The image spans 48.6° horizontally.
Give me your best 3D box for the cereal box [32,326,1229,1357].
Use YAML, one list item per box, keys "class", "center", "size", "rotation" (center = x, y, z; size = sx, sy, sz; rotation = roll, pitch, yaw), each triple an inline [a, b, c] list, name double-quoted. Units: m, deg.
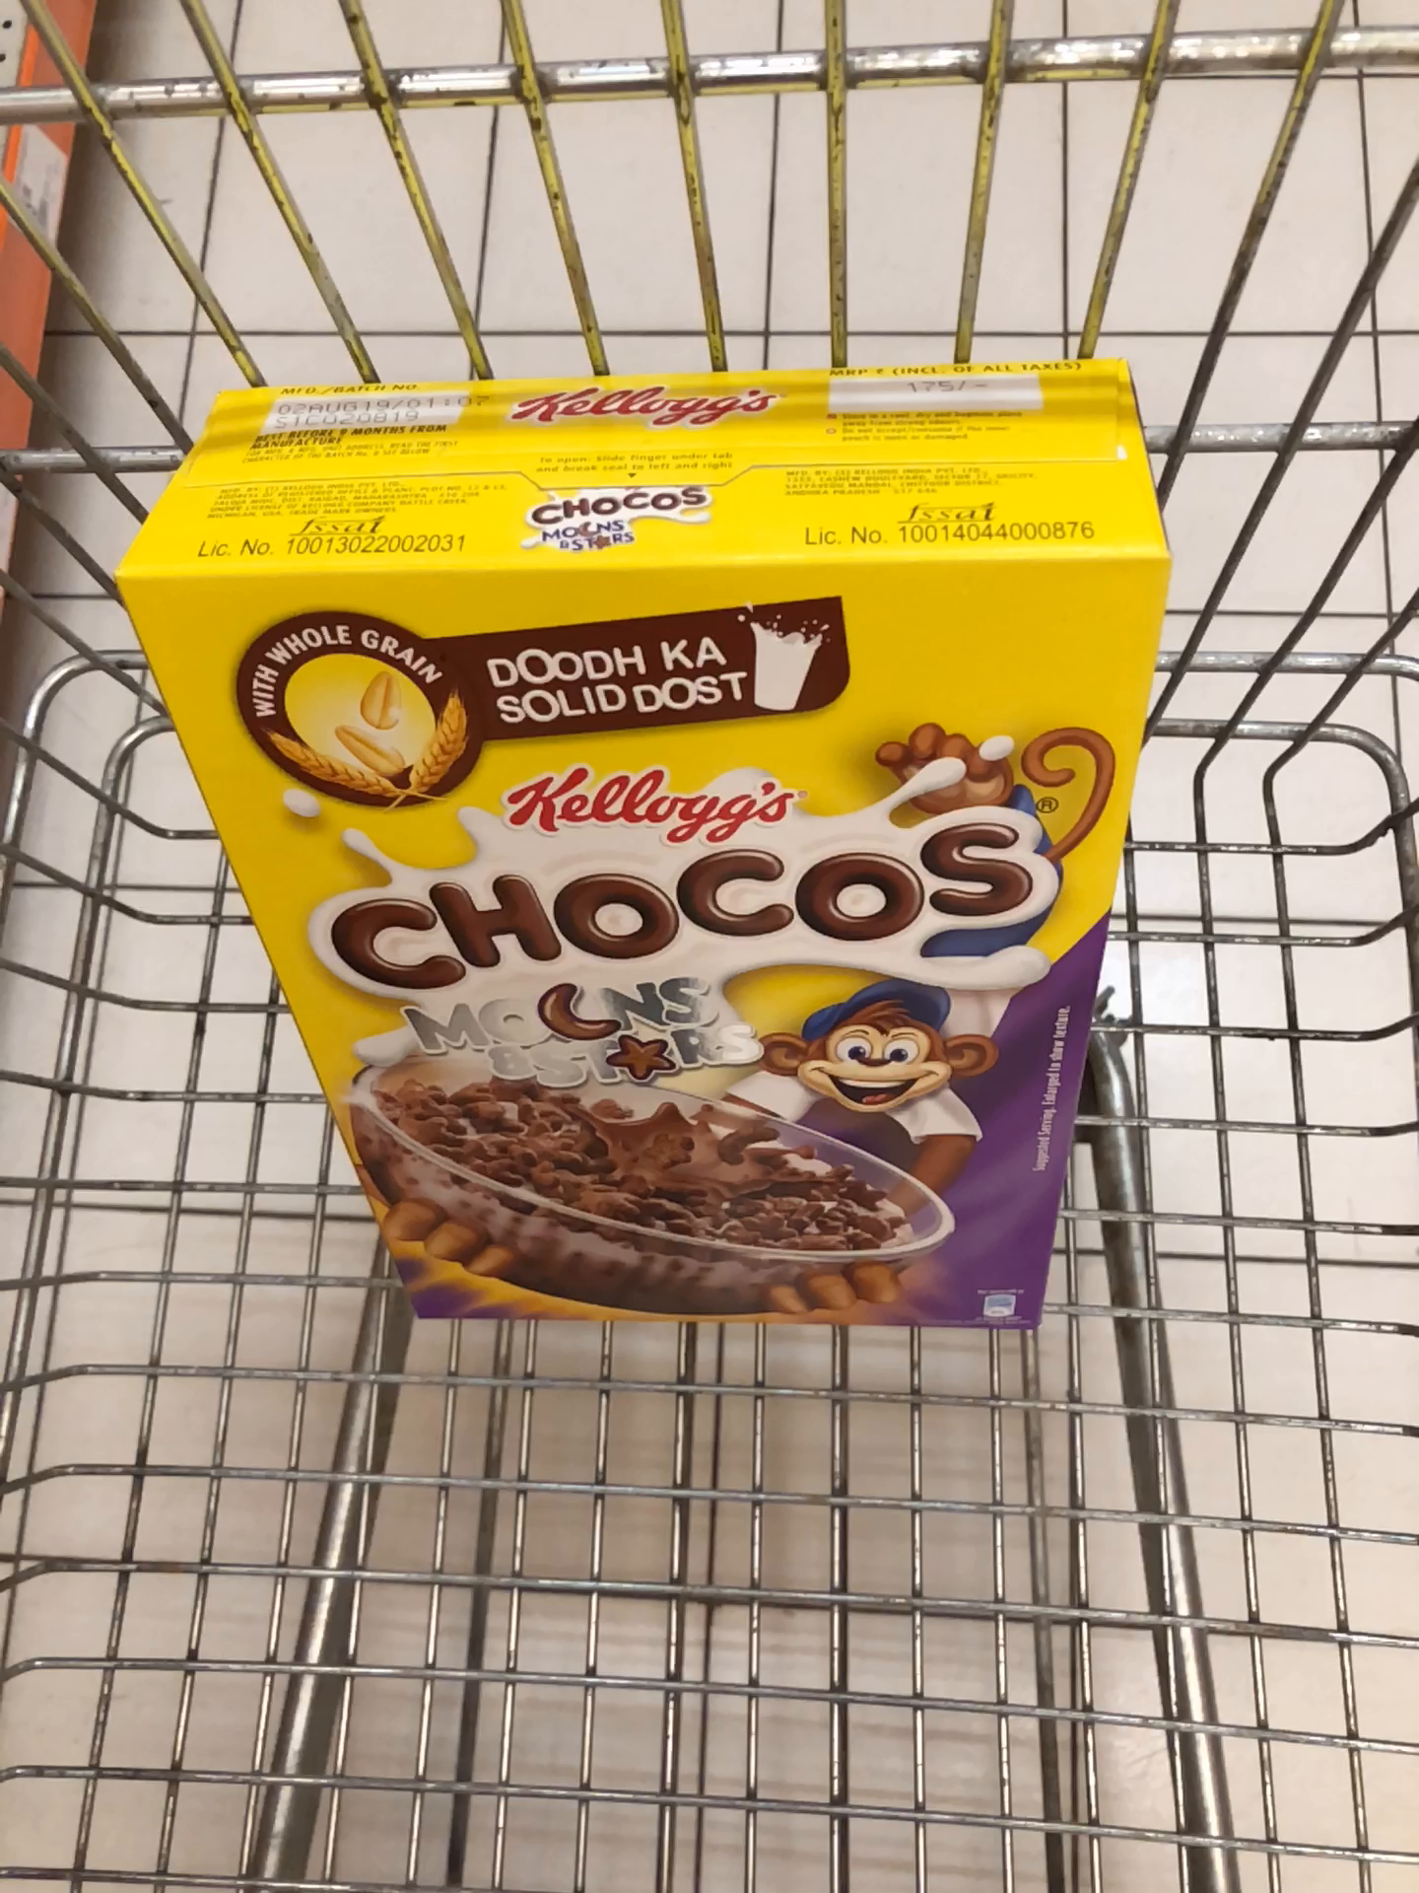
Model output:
- class: "cereal box"
  center: [-0.006, -0.001, 0.361]
  size: [0.190, 0.249, 0.070]
  rotation: [-1, 46, 4]
